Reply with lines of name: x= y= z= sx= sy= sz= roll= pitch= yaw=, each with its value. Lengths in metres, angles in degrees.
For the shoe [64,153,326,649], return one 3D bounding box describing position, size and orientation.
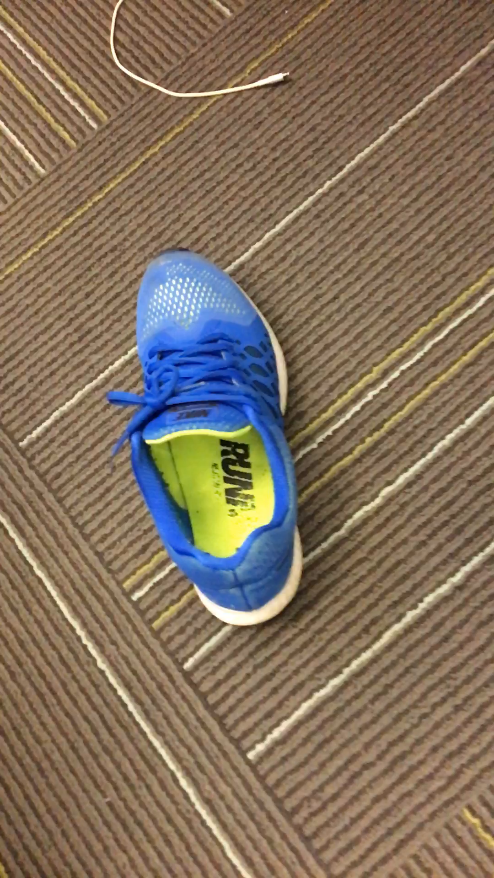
shoe: x=-0.034 y=-0.017 z=0.530 sx=0.110 sy=0.150 sz=0.310 roll=-13 pitch=73 yaw=8
